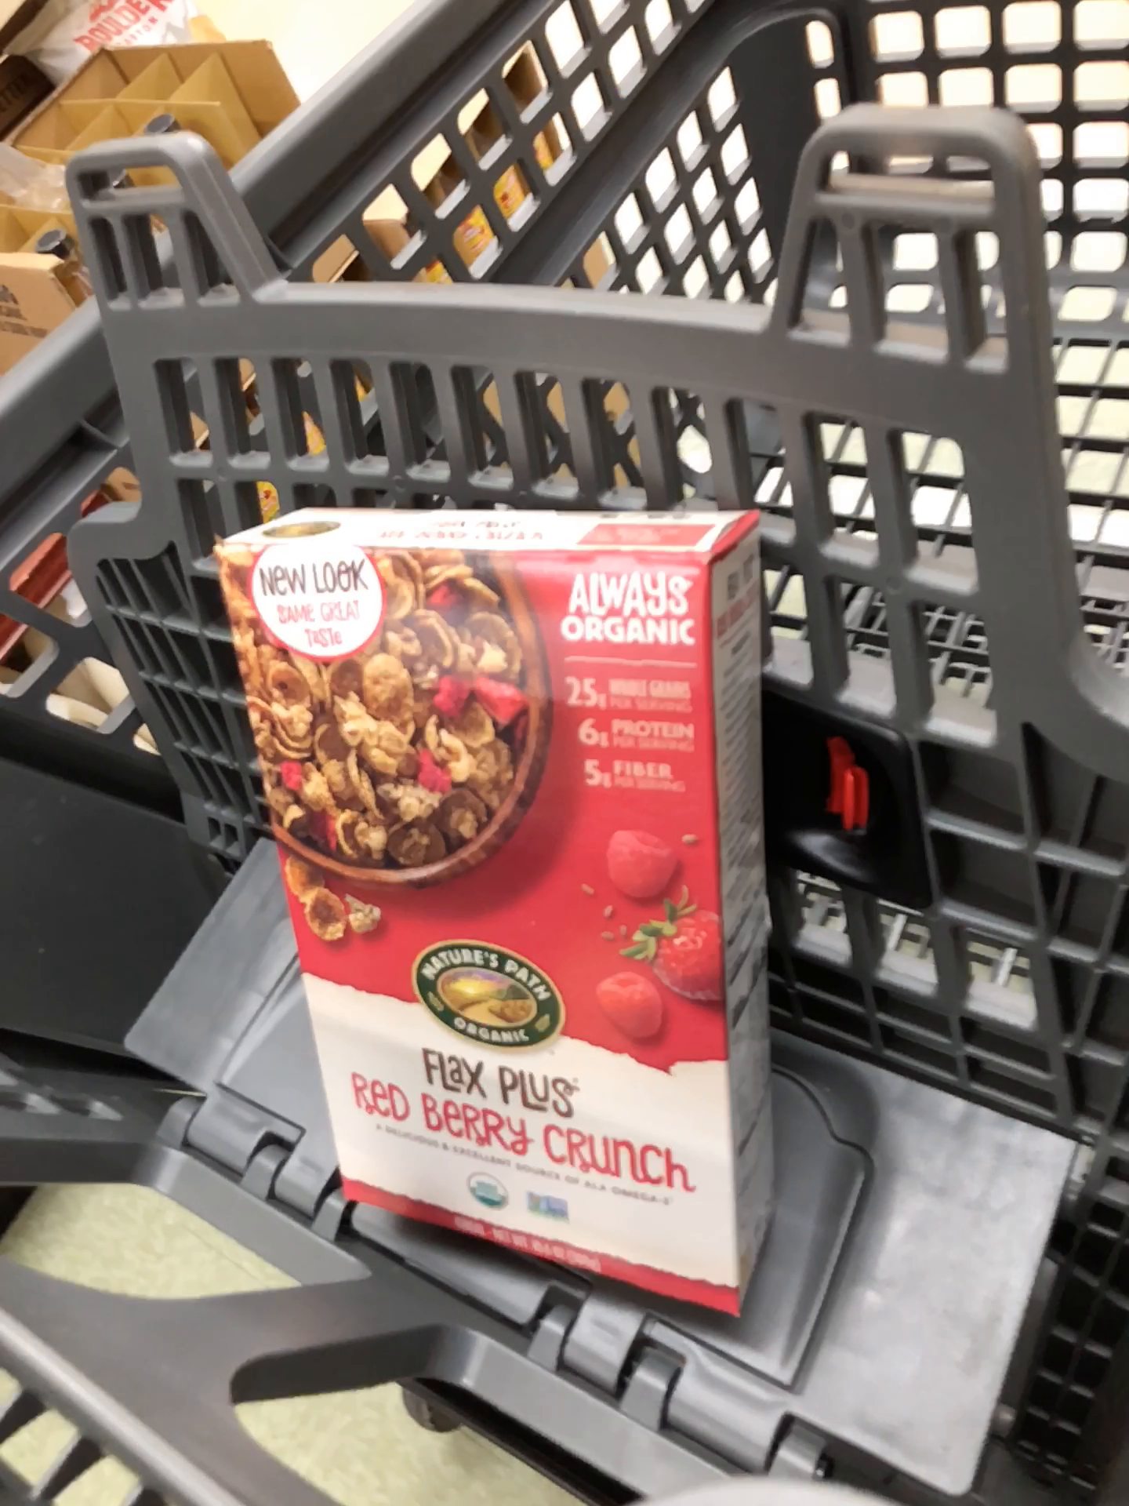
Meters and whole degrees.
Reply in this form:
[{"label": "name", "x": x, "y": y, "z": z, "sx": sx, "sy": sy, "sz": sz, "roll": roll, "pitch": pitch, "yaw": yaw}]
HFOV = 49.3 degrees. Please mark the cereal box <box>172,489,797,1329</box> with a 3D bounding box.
[{"label": "cereal box", "x": -0.018, "y": 0.045, "z": 0.410, "sx": 0.170, "sy": 0.250, "sz": 0.070, "roll": 6, "pitch": 23, "yaw": 26}]
